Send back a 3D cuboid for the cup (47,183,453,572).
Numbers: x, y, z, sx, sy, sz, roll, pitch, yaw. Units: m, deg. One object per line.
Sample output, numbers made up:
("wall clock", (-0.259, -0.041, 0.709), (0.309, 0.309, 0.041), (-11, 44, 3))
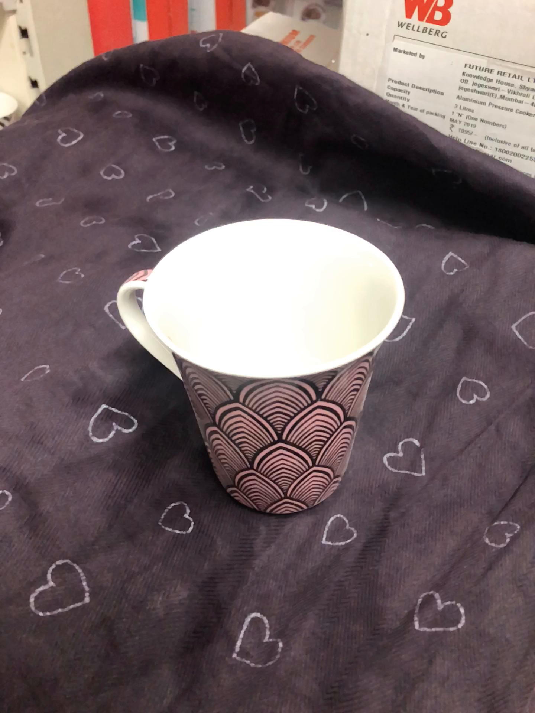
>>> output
("cup", (-0.002, 0.004, 0.252), (0.120, 0.099, 0.090), (18, 47, 20))
